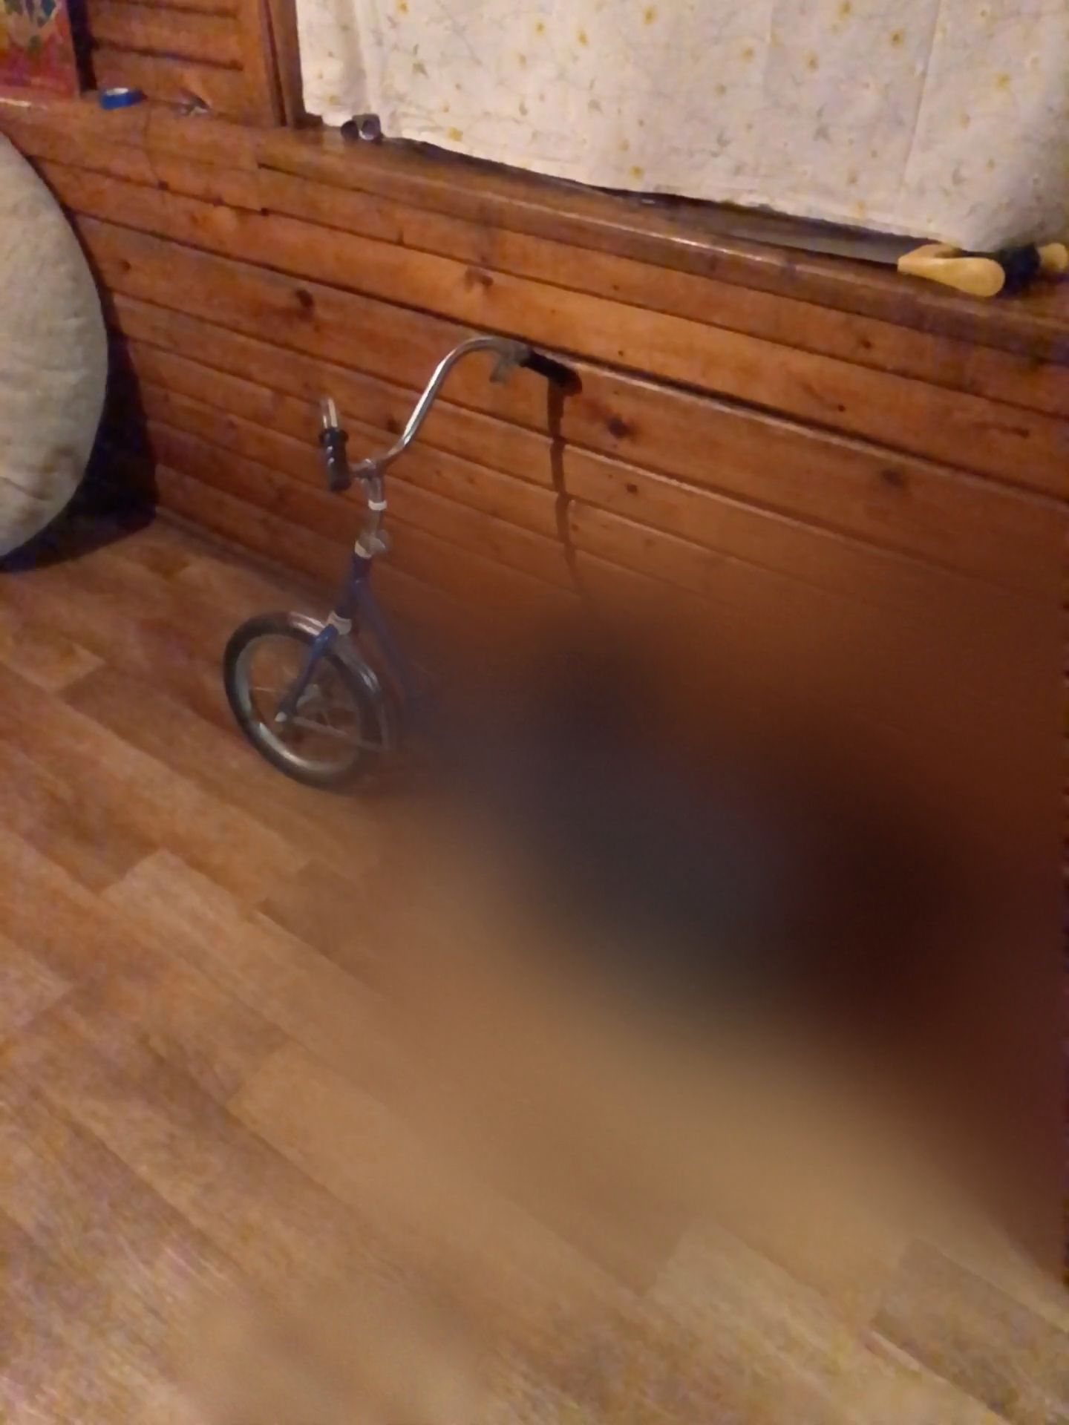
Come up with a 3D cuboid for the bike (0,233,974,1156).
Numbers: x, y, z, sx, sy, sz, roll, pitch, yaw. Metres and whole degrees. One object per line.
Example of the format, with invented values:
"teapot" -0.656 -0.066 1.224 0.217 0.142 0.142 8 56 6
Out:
"bike" -0.075 -0.084 1.564 0.958 0.697 0.595 28 49 28
